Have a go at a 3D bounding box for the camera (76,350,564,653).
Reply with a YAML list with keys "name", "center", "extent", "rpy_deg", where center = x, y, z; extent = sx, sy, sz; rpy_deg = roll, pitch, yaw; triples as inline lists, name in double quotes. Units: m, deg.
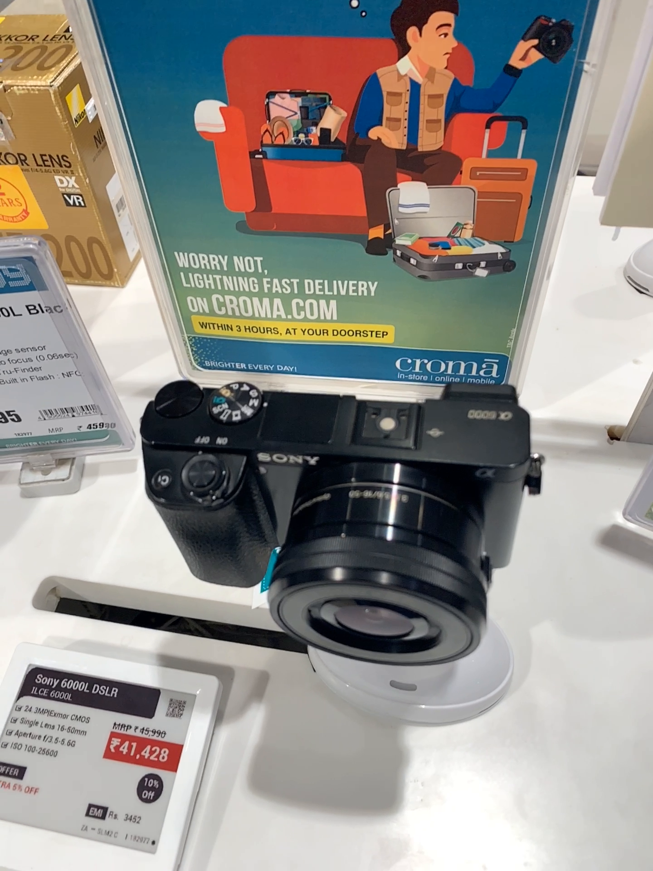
- name: "camera"
  center: [0.001, 0.021, 0.207]
  extent: [0.118, 0.073, 0.056]
  rpy_deg: [2, 51, 6]
